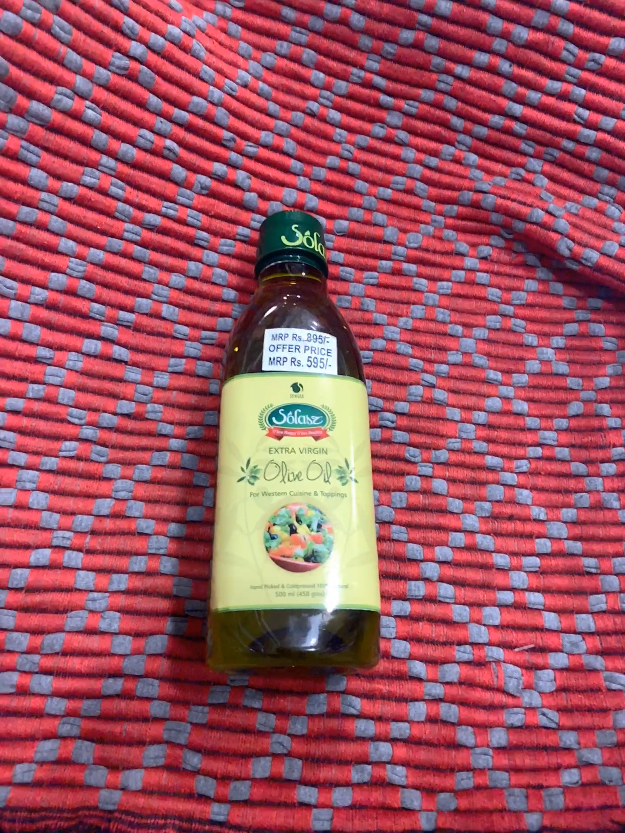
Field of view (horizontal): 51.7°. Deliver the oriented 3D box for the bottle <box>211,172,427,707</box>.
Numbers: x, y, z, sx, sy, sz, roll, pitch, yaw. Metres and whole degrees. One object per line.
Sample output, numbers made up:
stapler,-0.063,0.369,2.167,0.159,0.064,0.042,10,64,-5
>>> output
bottle,-0.003,0.003,0.257,0.060,0.070,0.200,2,61,-5
